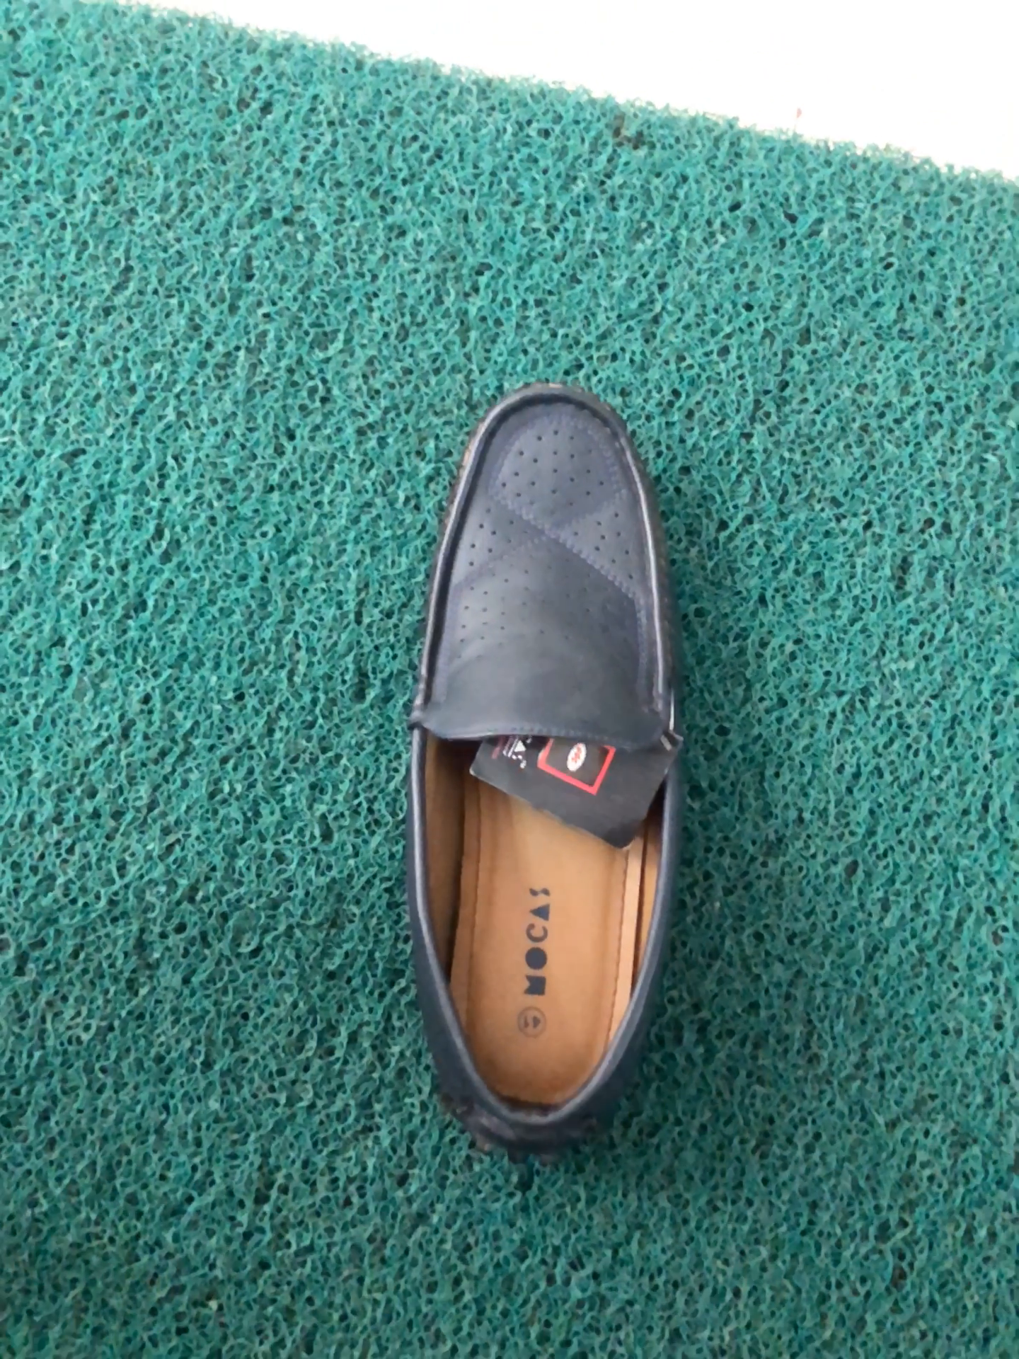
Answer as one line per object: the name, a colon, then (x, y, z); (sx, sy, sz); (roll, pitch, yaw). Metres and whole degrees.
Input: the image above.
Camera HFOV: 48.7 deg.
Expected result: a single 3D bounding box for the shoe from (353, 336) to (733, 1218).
shoe: (0.015, 0.027, 0.400); (0.100, 0.070, 0.280); (6, 77, -1)
